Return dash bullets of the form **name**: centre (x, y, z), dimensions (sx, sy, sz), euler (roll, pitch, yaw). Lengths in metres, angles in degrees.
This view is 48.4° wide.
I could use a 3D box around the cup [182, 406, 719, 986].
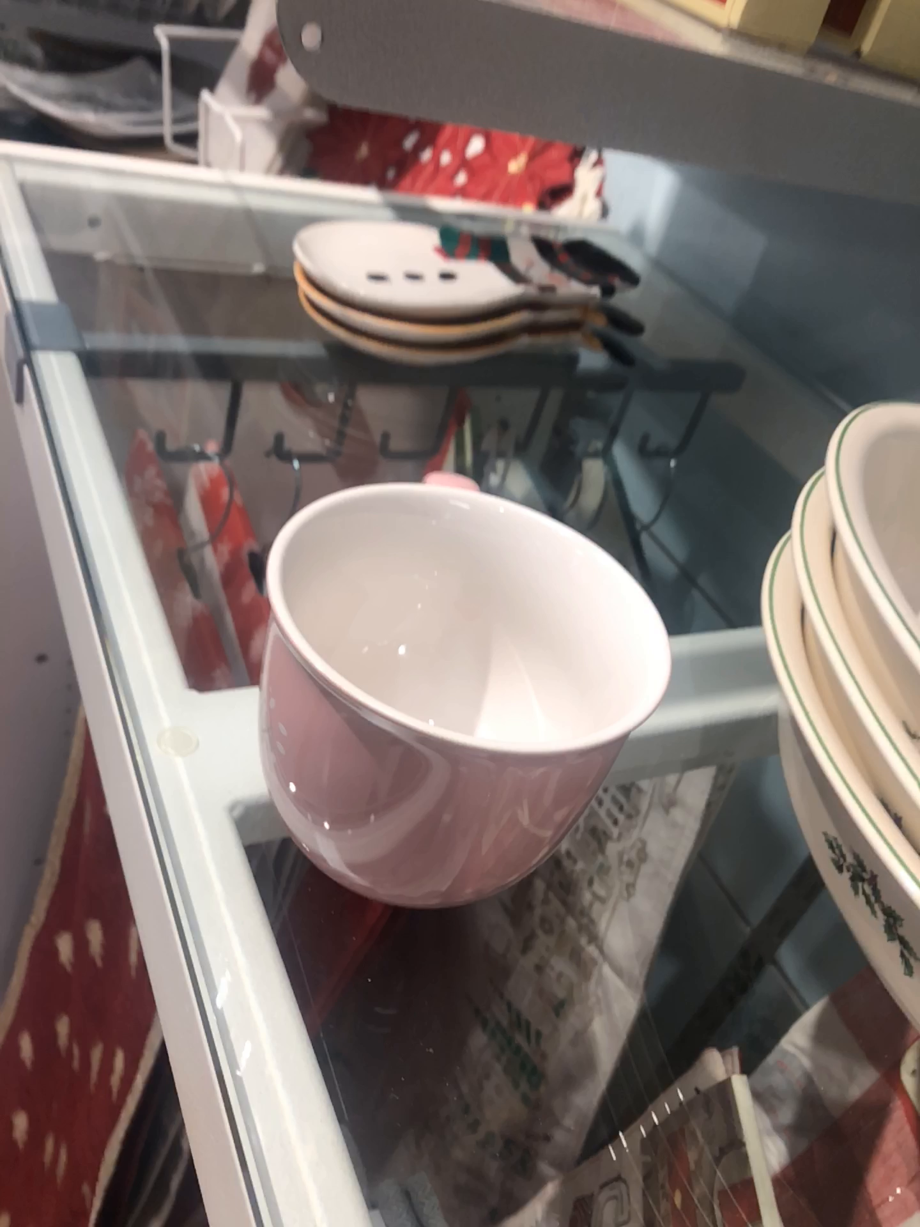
- **cup**: centre (-0.011, 0.020, 0.298), dimensions (0.112, 0.084, 0.136), euler (8, 38, -13)
